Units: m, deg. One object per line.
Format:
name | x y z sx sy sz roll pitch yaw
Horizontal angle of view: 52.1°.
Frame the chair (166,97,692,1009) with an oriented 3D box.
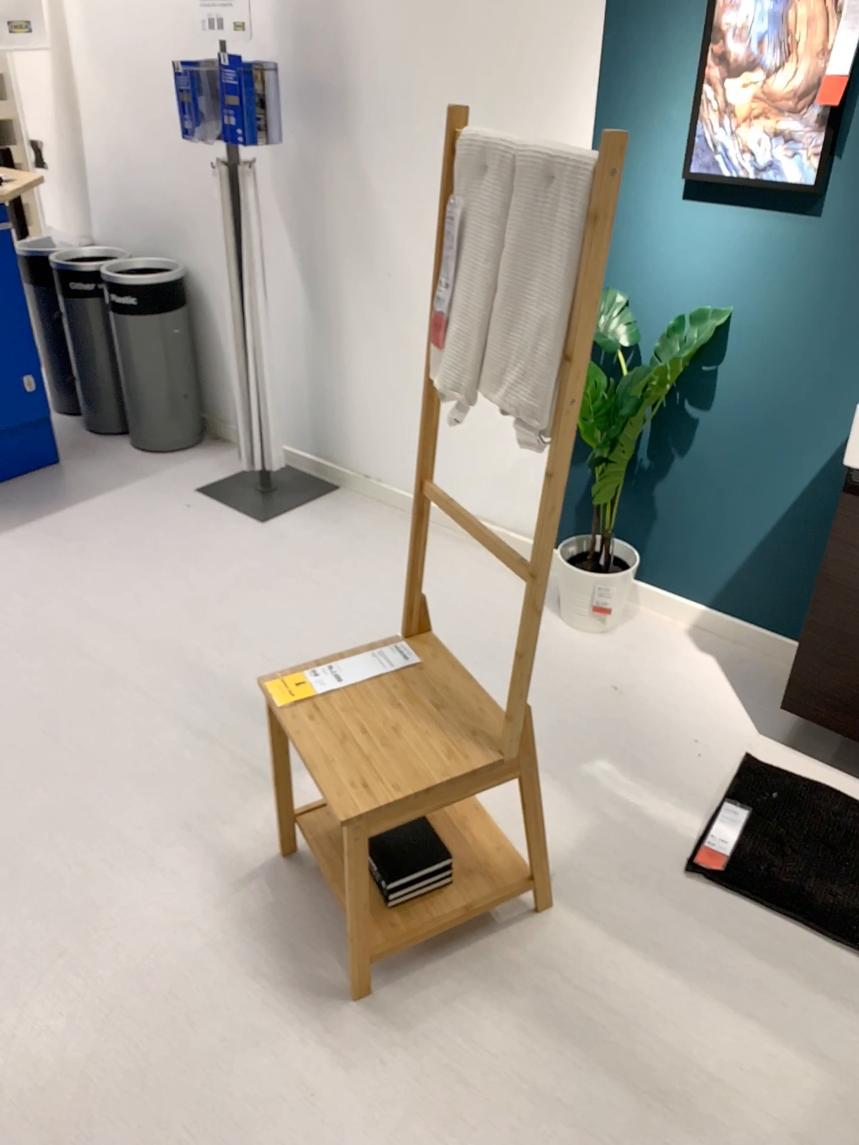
chair | -0.032 0.004 1.382 0.470 1.294 0.462 -14 34 -23
